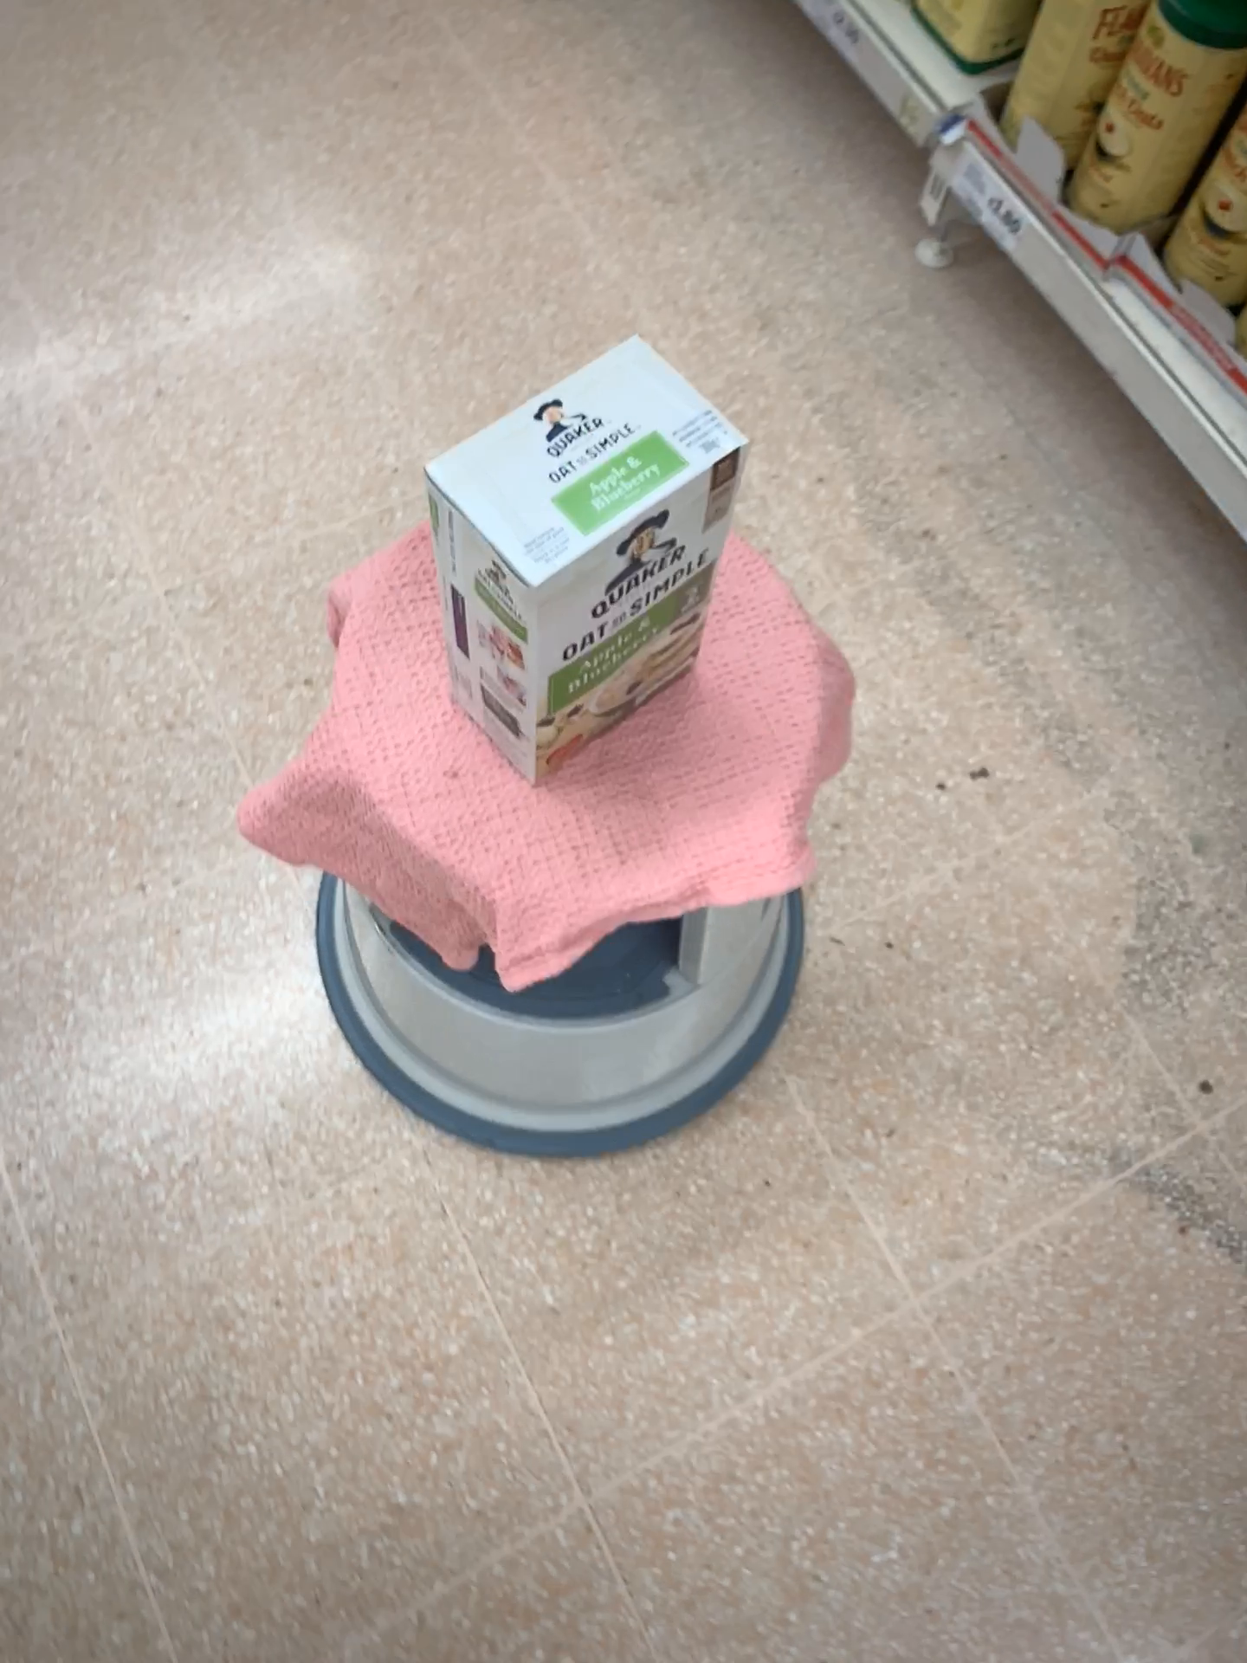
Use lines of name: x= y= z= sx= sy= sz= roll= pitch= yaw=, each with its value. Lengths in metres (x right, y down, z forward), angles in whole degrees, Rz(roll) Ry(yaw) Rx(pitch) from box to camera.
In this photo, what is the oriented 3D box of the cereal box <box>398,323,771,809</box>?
cereal box: x=-0.023 y=-0.125 z=0.663 sx=0.140 sy=0.209 sz=0.090 roll=-37 pitch=74 yaw=-17
